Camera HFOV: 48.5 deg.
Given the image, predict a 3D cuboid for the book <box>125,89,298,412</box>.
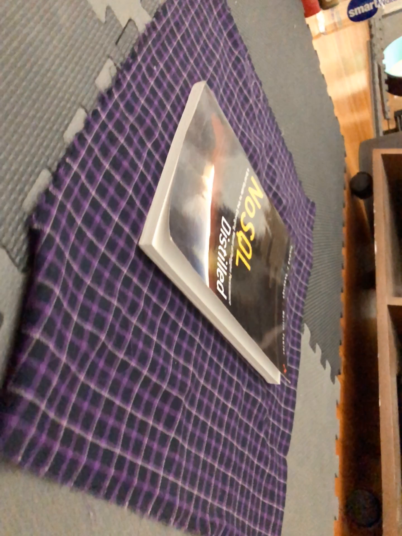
[{"bbox_3d":[0.036,-0.003,0.417,0.251,0.020,0.191,51,41,-43],"label":"book"}]
